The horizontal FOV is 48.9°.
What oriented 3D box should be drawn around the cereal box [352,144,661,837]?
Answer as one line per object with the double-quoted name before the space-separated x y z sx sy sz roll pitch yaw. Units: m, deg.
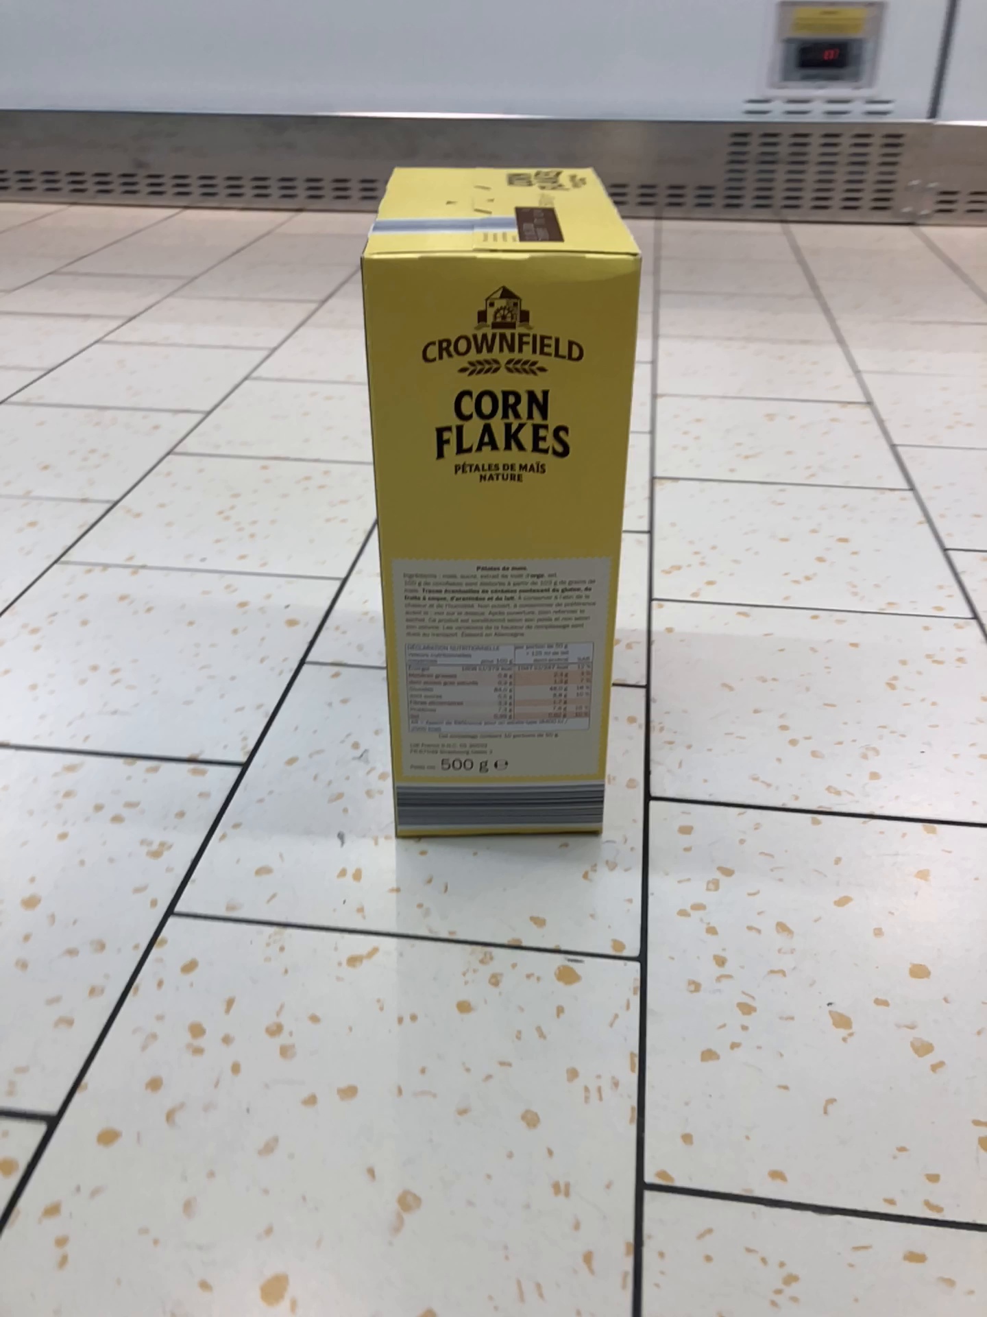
"cereal box" 0.003 -0.085 0.502 0.100 0.258 0.201 -1 31 -1
